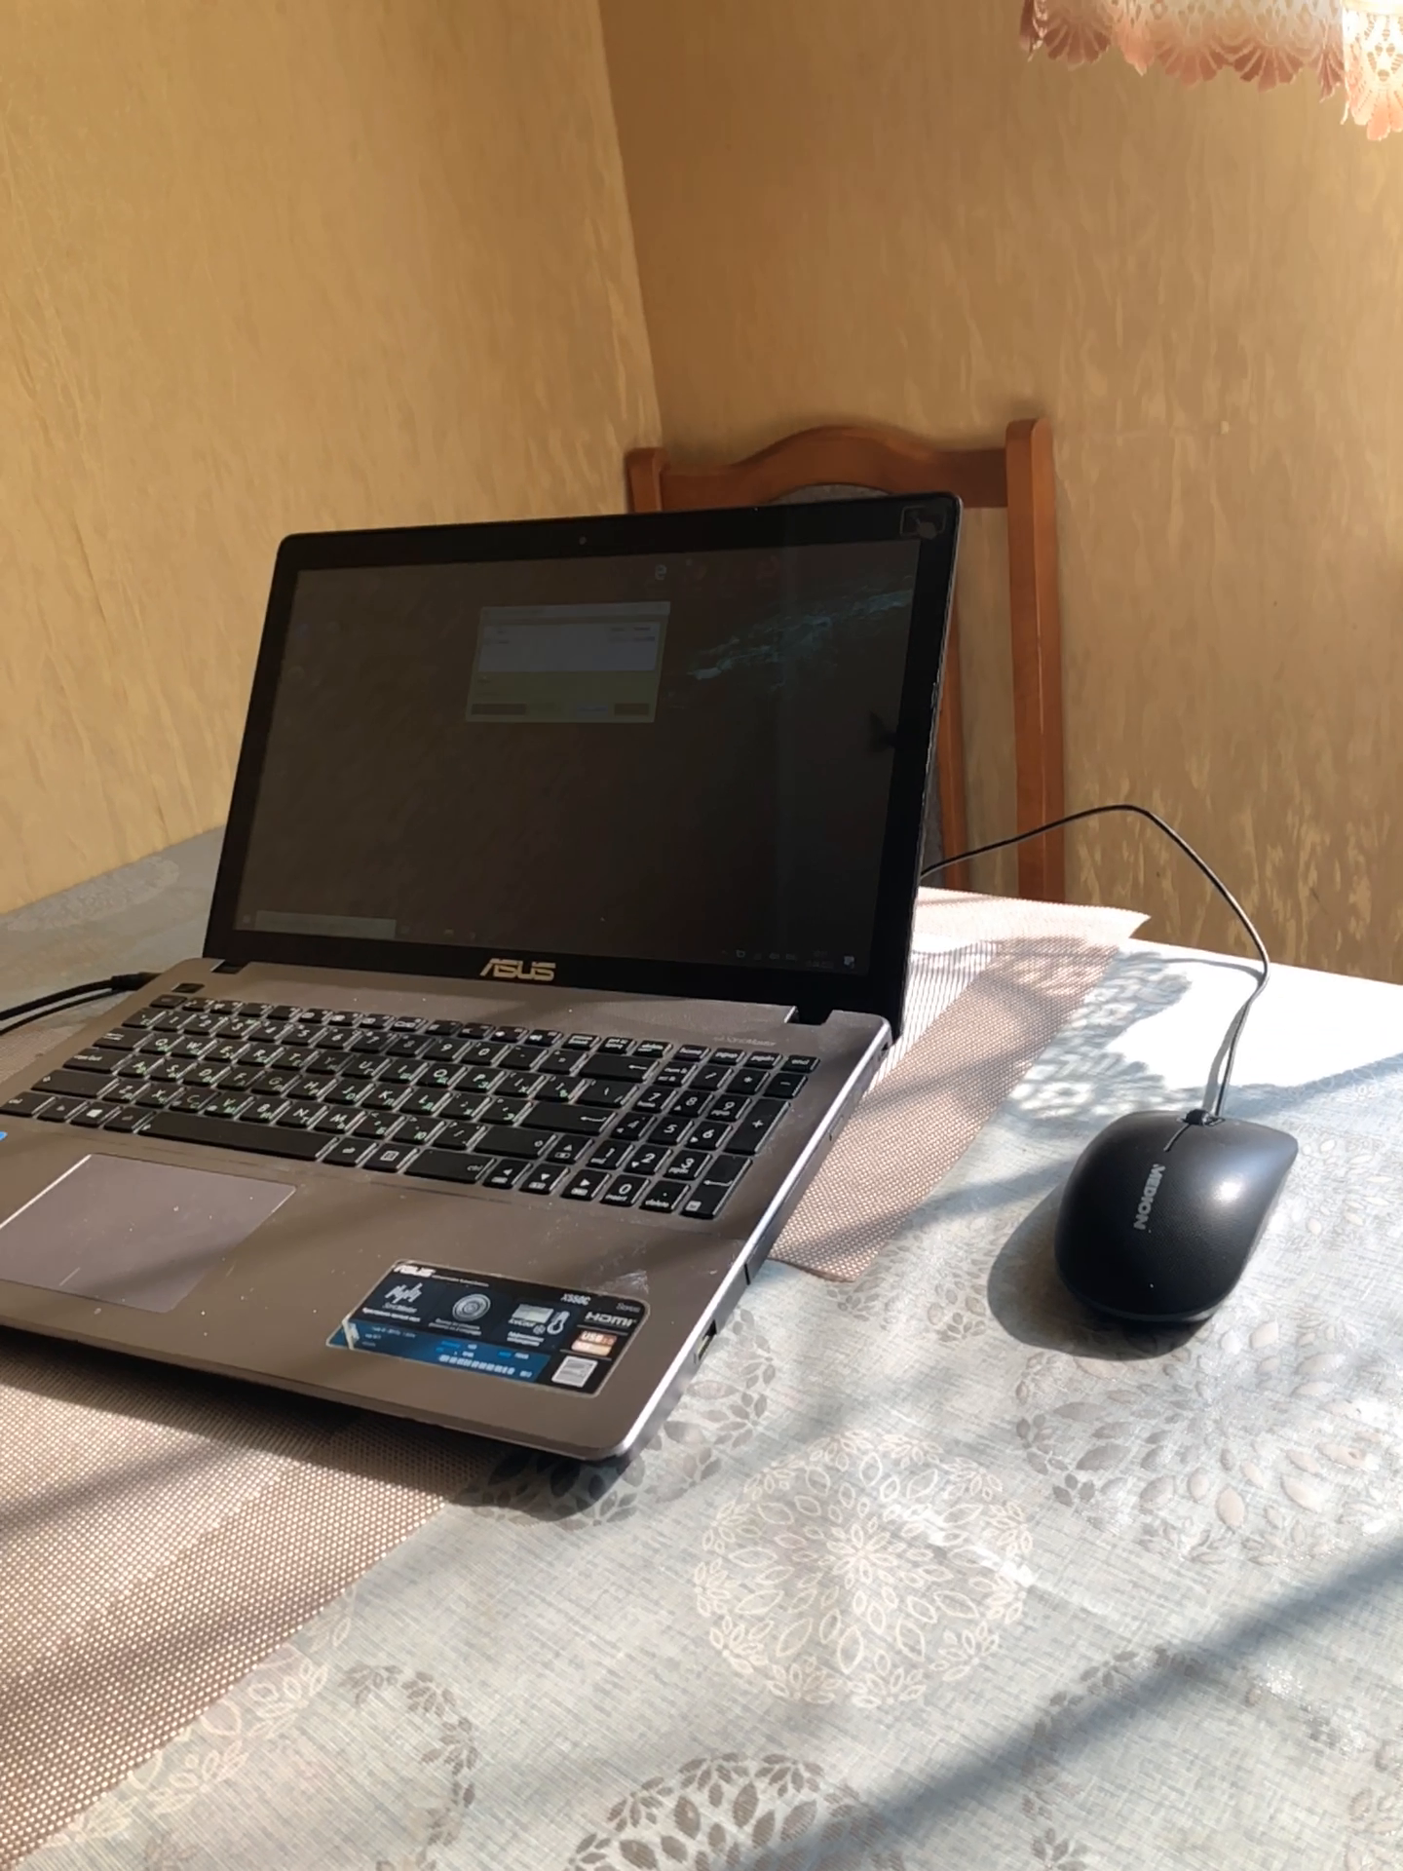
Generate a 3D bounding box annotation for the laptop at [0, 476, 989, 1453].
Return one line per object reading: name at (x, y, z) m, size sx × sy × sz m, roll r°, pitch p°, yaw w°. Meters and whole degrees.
laptop at (-0.124, -0.039, 0.636) m, size 0.378 × 0.183 × 0.399 m, roll 4°, pitch 28°, yaw 25°
